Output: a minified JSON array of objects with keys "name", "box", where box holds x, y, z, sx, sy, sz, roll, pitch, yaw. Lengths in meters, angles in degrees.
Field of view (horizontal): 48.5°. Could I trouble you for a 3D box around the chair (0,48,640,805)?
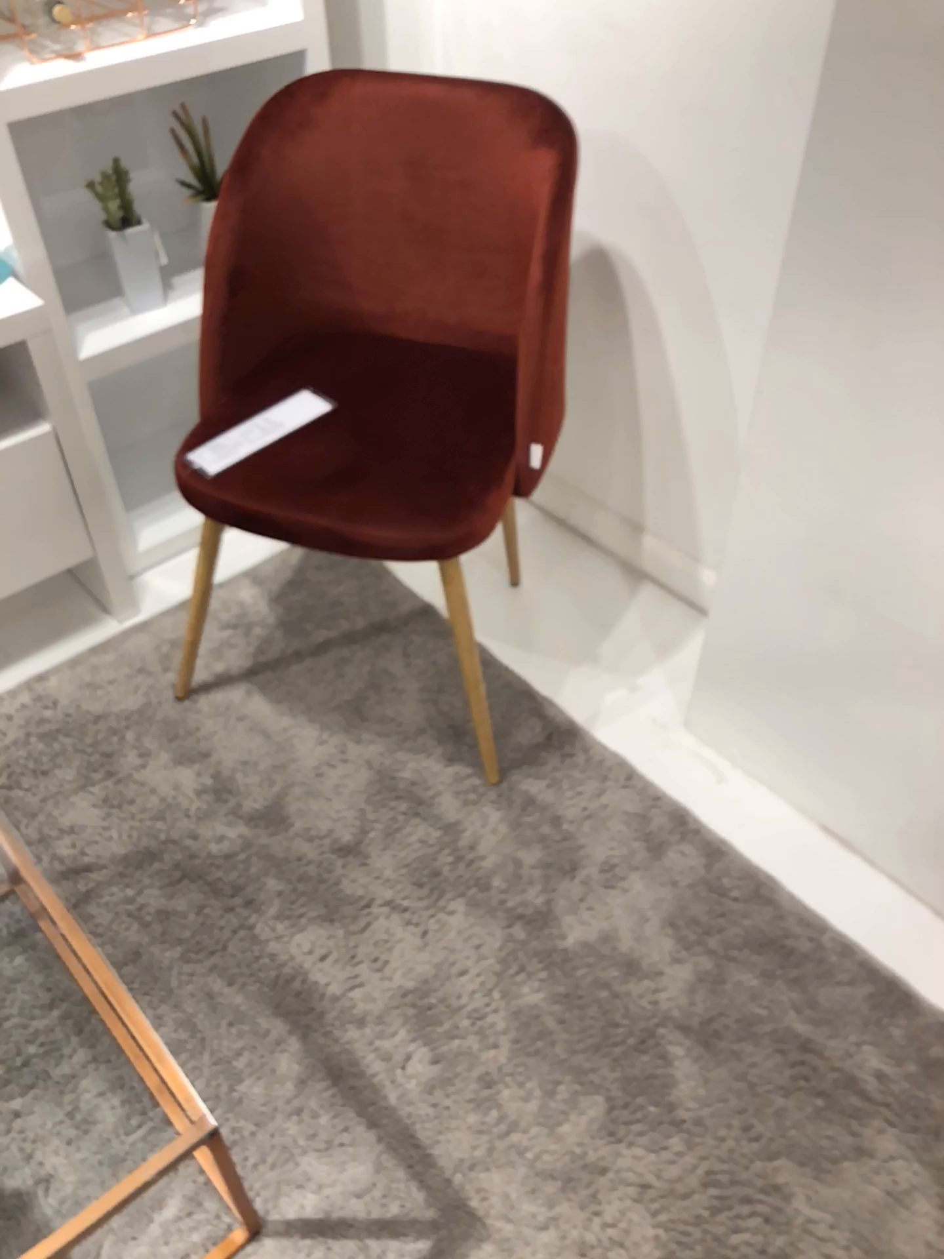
[{"name":"chair","box":[-0.141,-0.294,1.467,0.590,0.735,0.655,10,45,11]}]
